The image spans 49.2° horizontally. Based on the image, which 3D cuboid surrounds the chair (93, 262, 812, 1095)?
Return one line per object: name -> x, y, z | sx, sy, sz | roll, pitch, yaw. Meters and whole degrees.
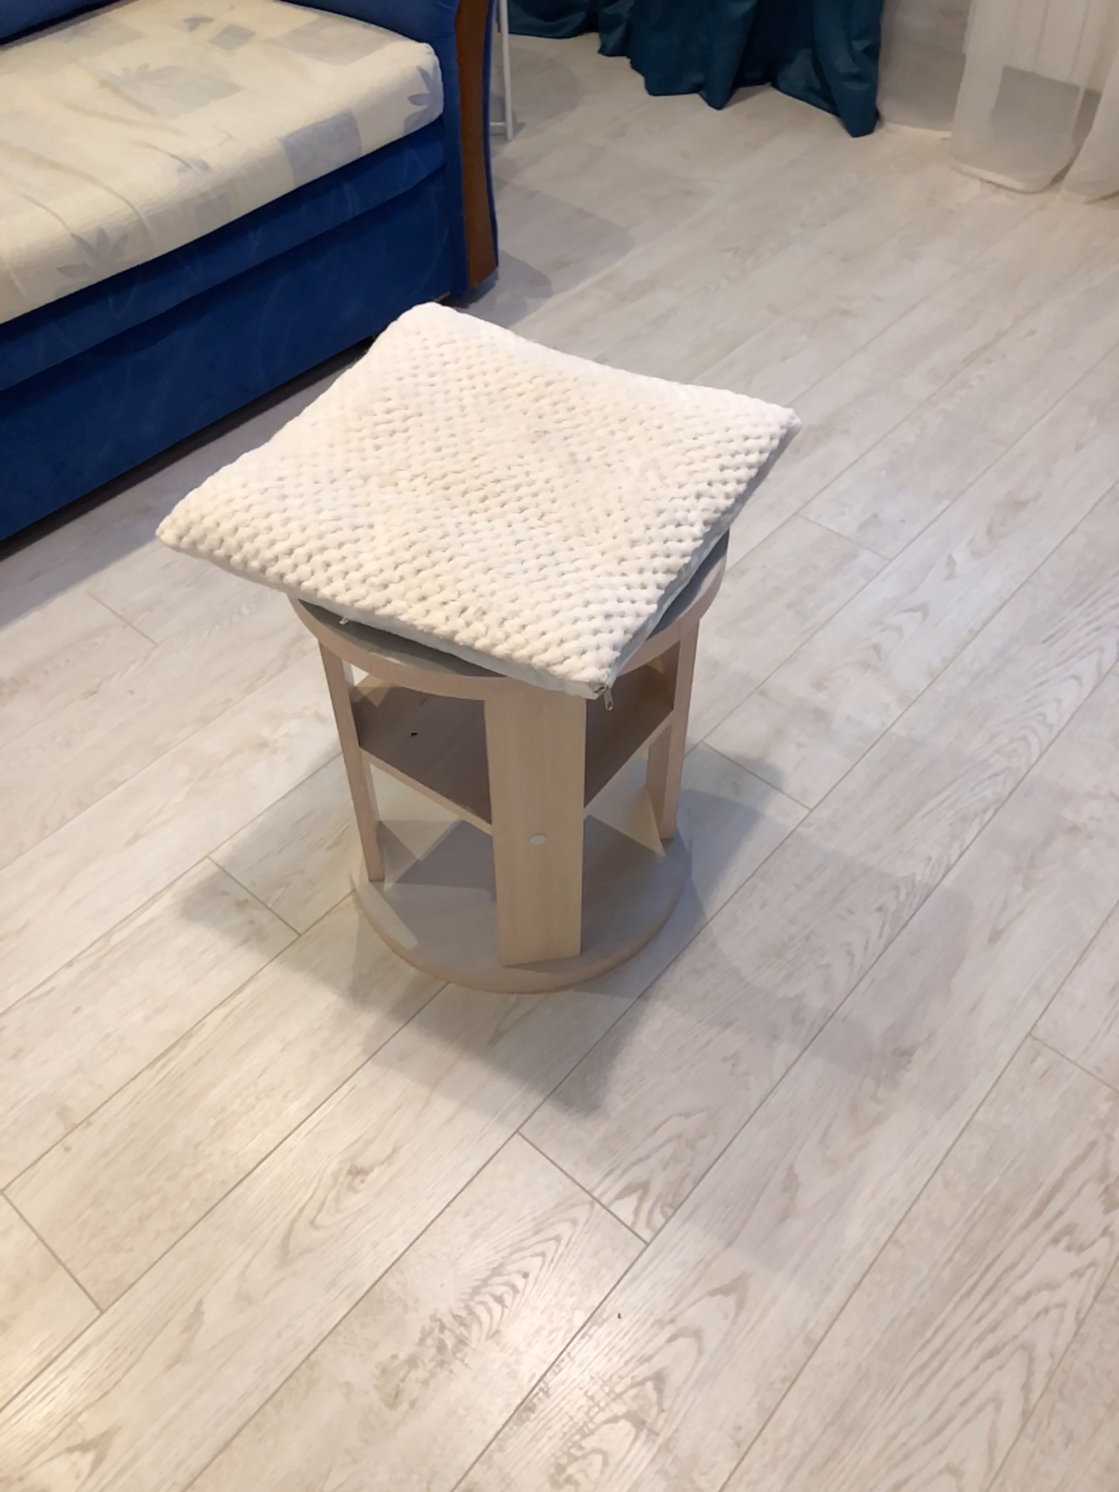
chair -> -0.080, -0.055, 1.142 | 0.401, 0.546, 0.382 | 35, 58, 27
